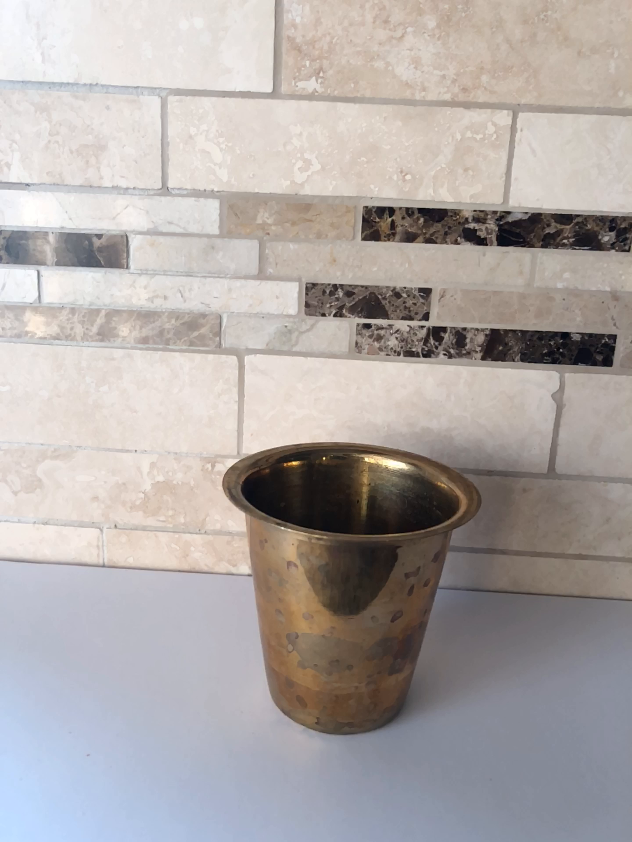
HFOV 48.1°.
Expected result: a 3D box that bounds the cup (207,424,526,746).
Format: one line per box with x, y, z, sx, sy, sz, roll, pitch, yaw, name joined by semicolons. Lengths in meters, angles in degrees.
0.011;0.048;0.230;0.083;0.071;0.075;2;16;-2;cup
